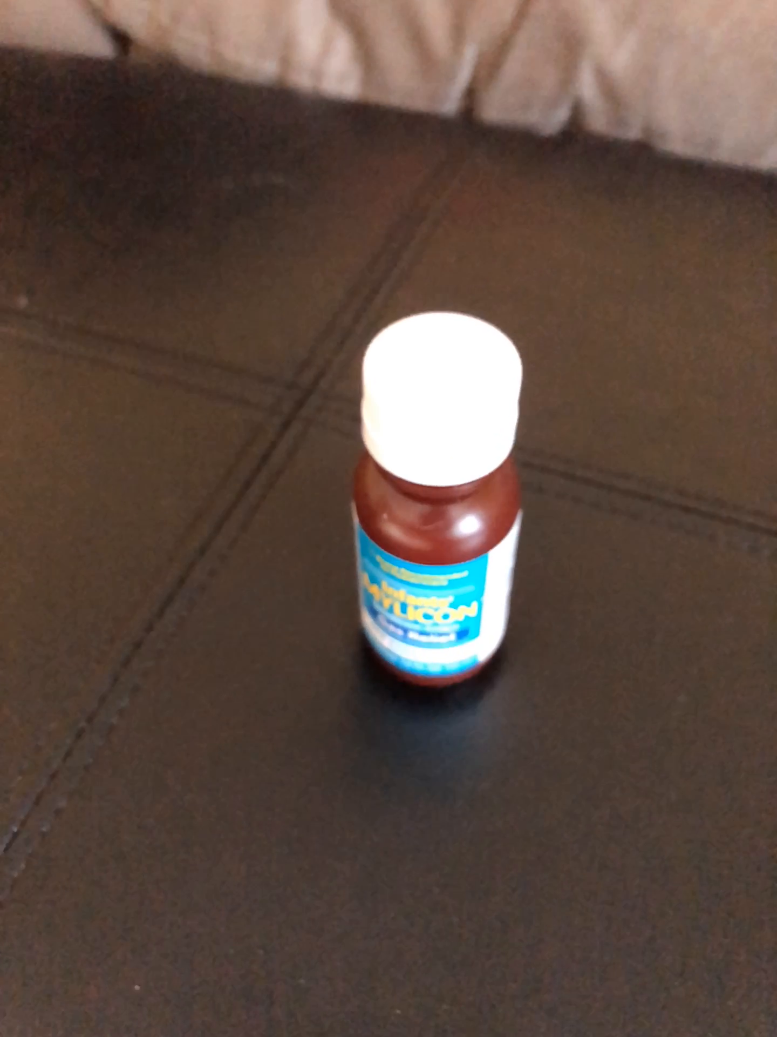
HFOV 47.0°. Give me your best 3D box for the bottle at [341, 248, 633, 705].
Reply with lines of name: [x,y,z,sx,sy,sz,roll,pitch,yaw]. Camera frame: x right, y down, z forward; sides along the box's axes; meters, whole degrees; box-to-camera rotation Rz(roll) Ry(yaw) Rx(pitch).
bottle: [0.019,-0.004,0.174,0.040,0.080,0.040,-1,51,2]
